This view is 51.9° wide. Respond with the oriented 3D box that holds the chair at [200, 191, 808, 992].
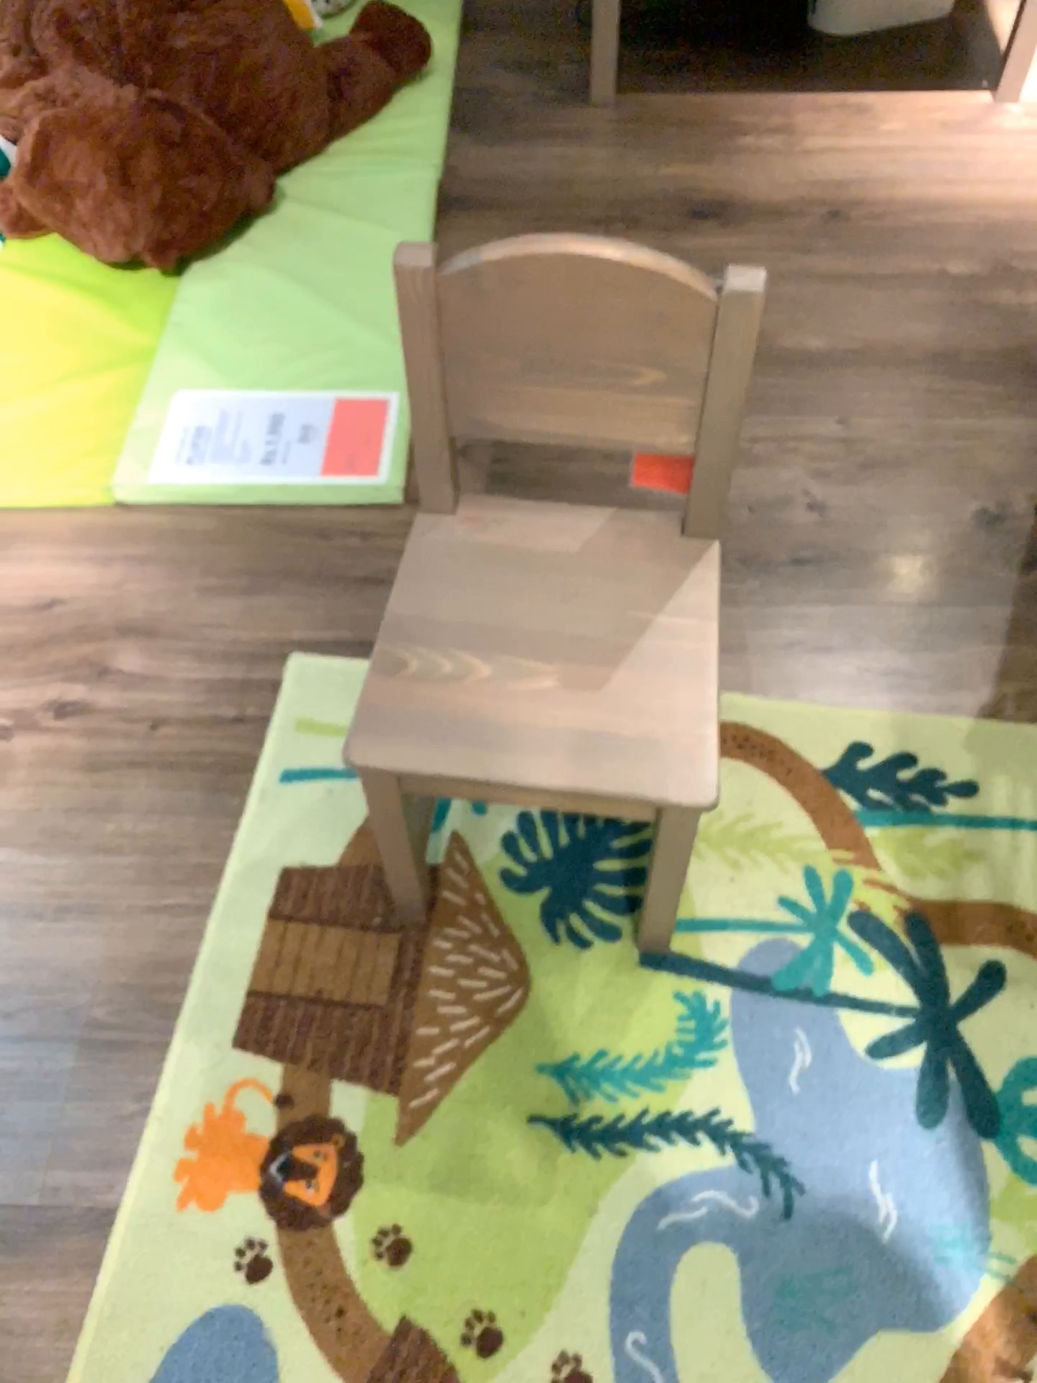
[{"bbox_3d":[0.015,-0.042,0.797,0.290,0.489,0.331,6,54,5],"label":"chair"}]
